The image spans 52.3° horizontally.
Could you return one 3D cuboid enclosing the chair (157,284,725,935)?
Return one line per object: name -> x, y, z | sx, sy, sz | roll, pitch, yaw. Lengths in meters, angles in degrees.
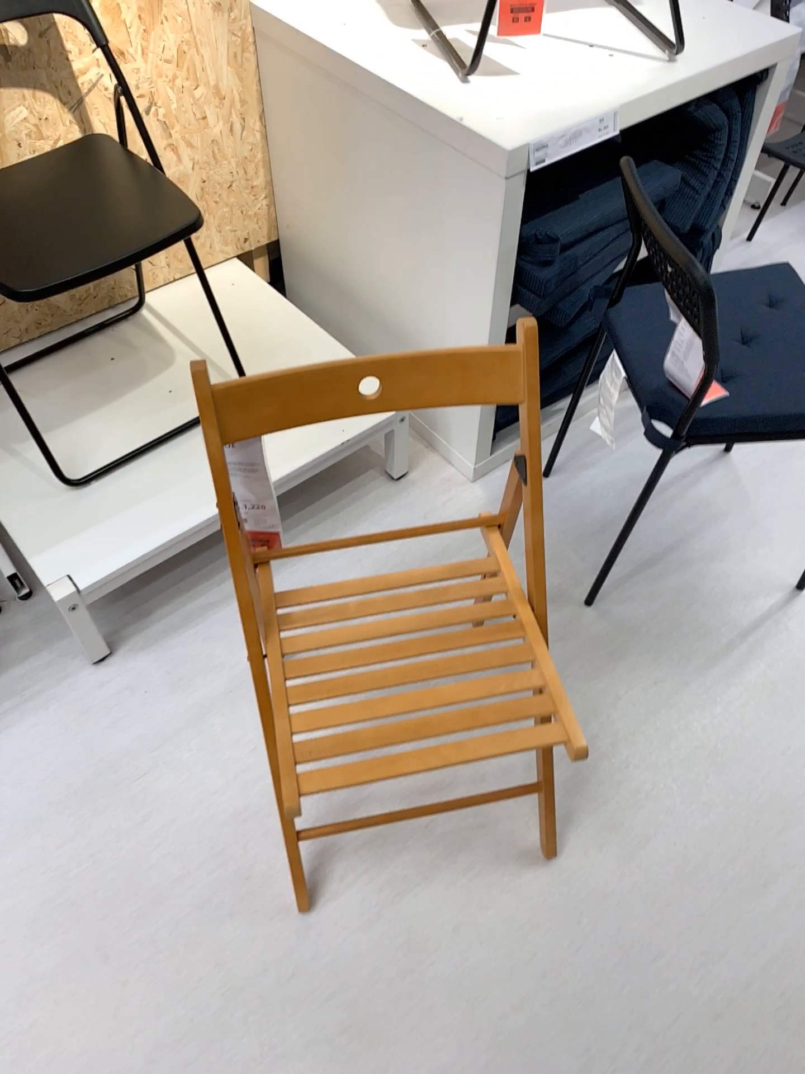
chair -> -0.007, 0.130, 1.182 | 0.510, 0.698, 0.562 | -9, 52, -8
